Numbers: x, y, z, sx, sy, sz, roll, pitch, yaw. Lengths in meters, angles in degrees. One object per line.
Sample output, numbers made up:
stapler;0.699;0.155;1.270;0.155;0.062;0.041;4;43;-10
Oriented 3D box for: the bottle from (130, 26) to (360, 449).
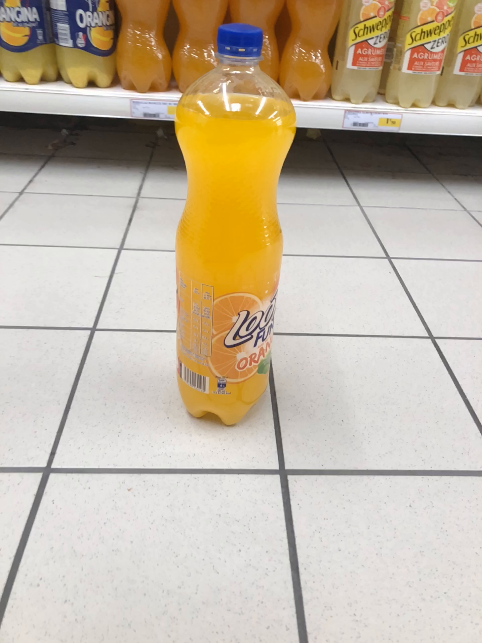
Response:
bottle;-0.004;-0.059;0.423;0.100;0.298;0.111;29;41;33
